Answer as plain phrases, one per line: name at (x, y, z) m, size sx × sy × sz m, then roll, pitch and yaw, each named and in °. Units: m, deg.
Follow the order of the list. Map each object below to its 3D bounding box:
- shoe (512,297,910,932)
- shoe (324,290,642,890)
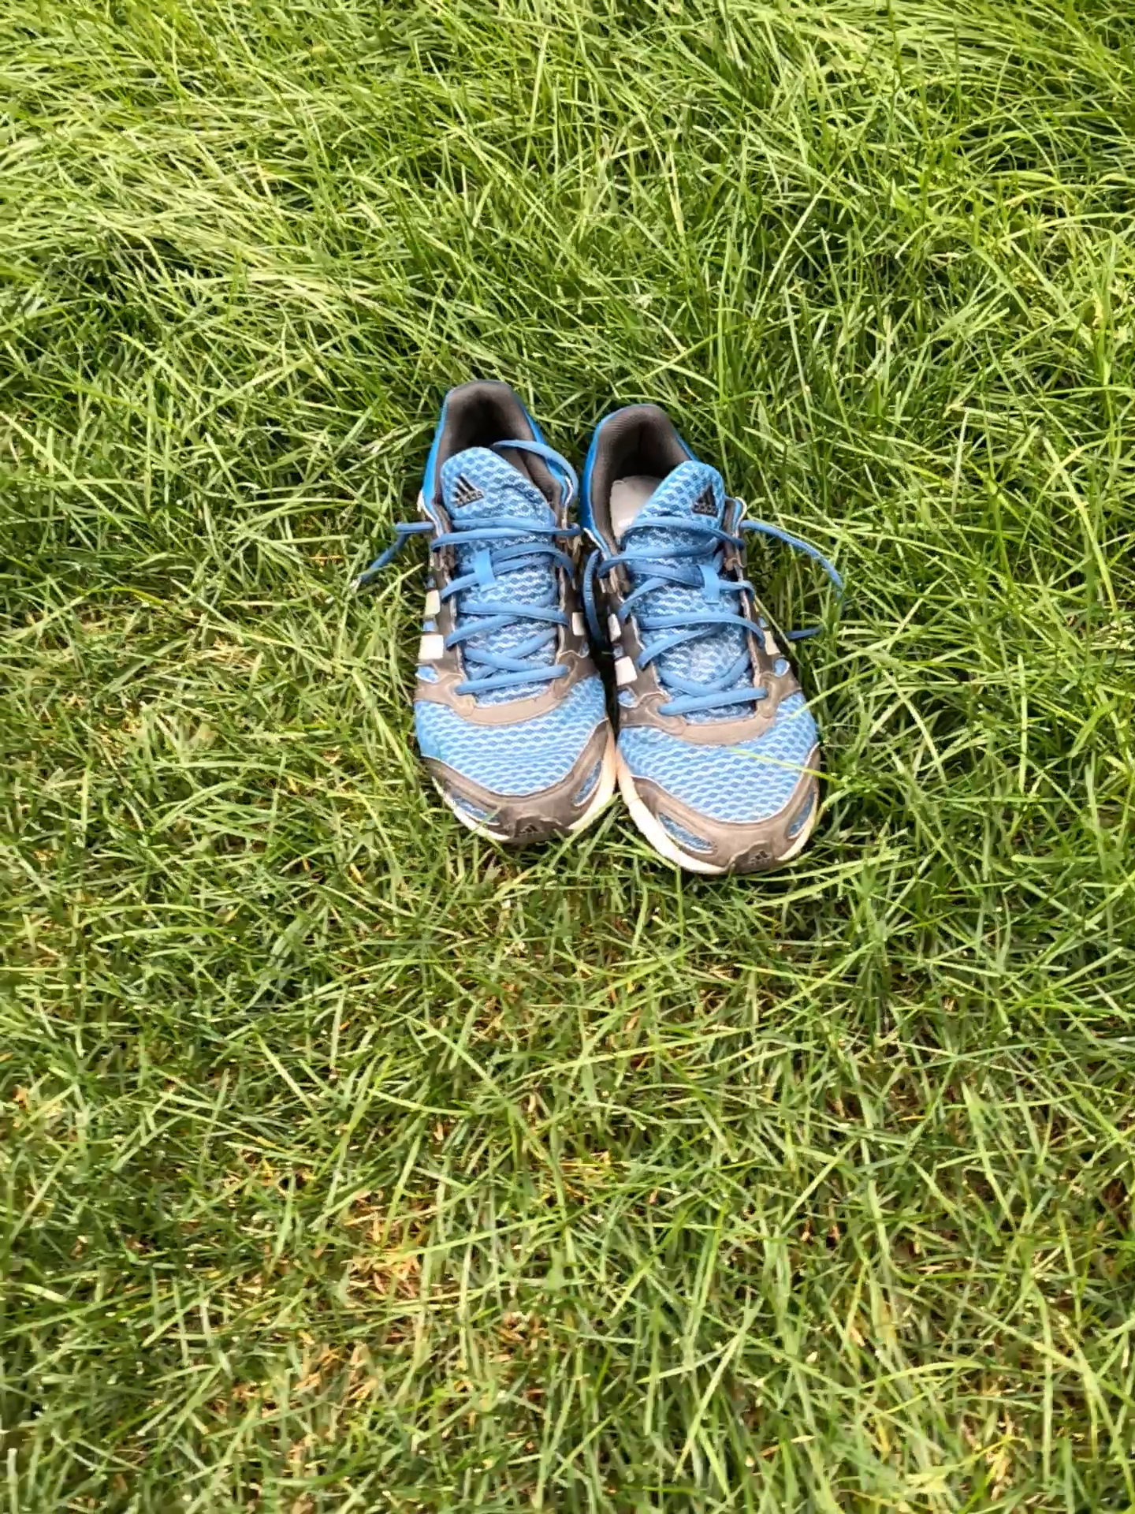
shoe at (0.066, -0.072, 0.640) m, size 0.120 × 0.120 × 0.280 m, roll -13°, pitch 67°, yaw 2°
shoe at (-0.044, -0.085, 0.652) m, size 0.120 × 0.120 × 0.270 m, roll -9°, pitch 67°, yaw 4°
